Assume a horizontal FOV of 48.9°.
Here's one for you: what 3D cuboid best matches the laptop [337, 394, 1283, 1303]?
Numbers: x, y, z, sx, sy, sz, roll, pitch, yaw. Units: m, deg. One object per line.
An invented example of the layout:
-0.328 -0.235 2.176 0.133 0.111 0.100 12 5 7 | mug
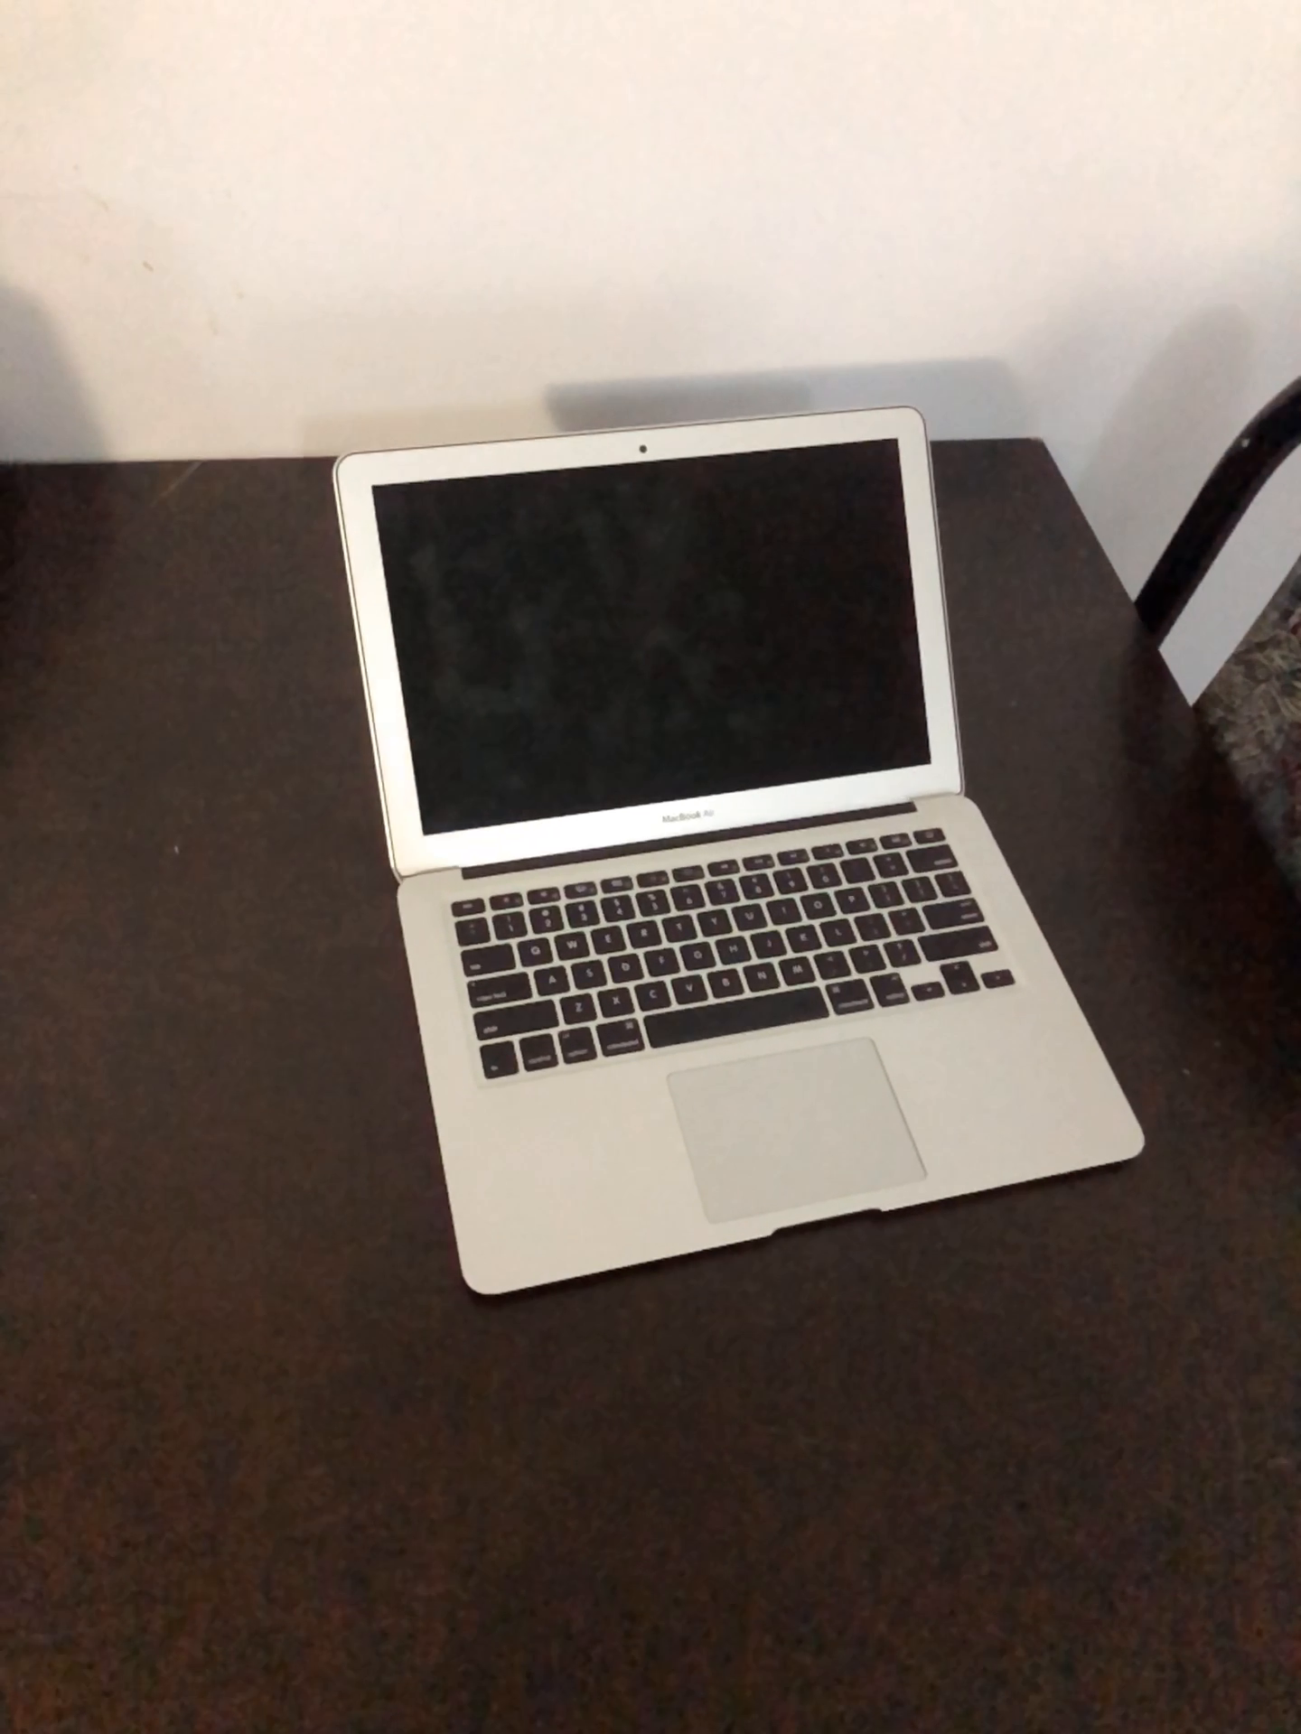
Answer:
0.037 -0.036 0.648 0.303 0.136 0.362 -9 53 -12 | laptop
